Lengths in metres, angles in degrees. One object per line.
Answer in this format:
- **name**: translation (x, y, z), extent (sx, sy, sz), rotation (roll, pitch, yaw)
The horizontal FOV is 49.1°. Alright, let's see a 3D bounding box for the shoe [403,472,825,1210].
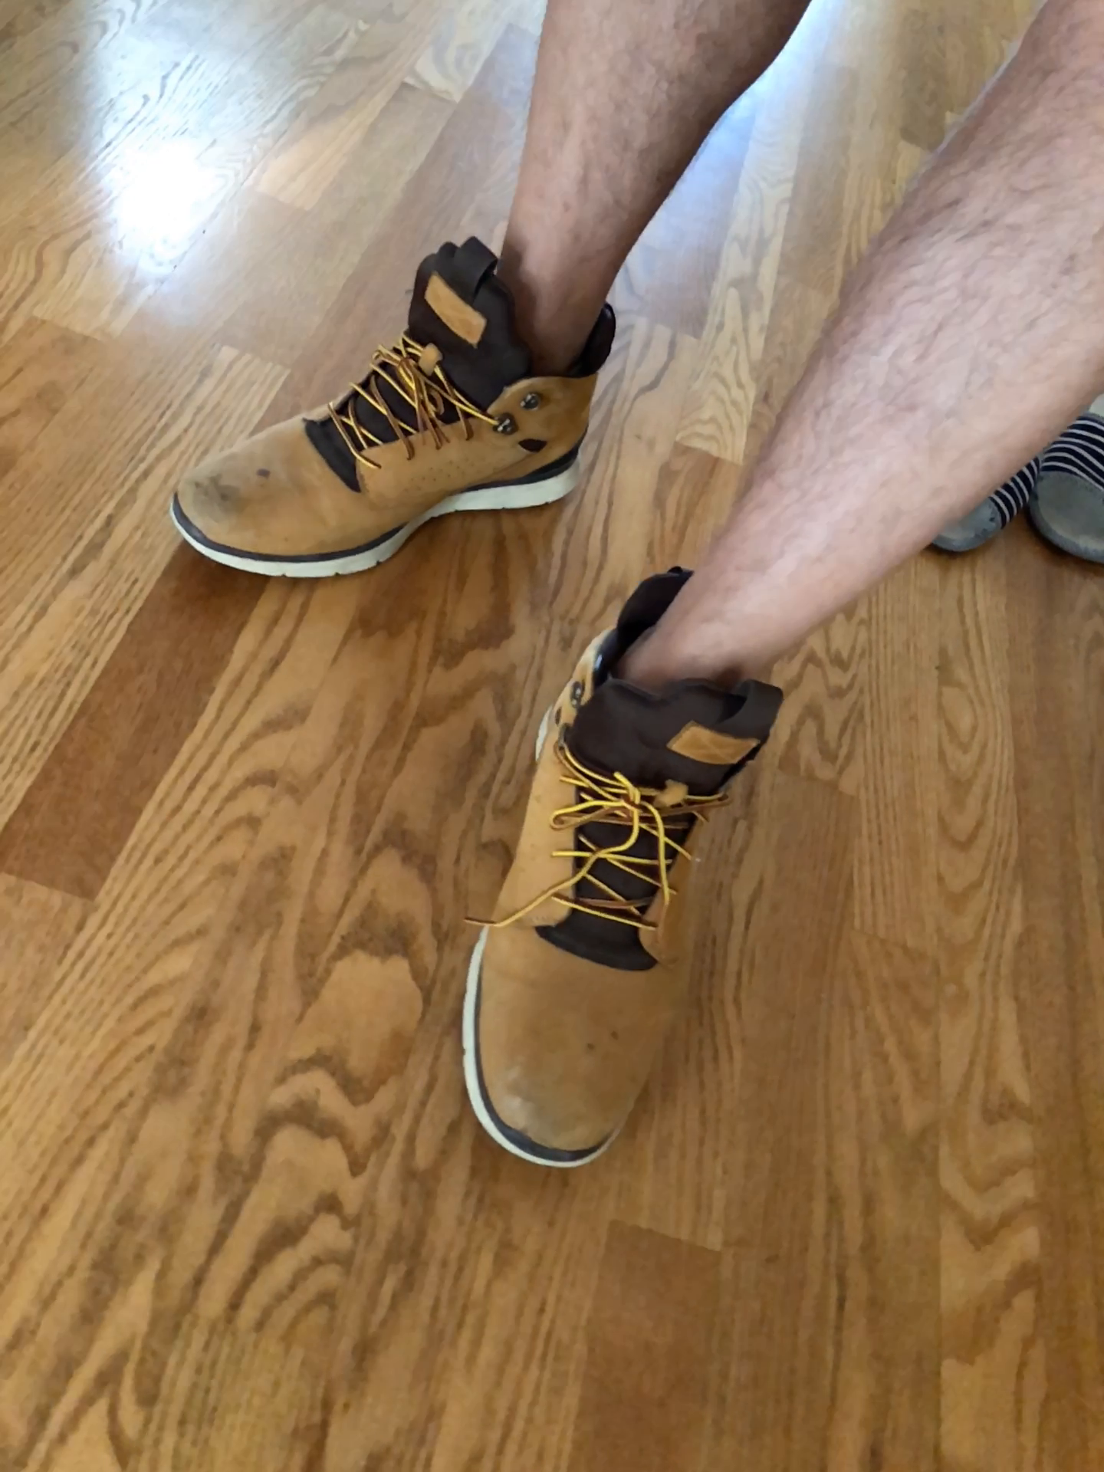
- **shoe**: translation (0.037, 0.039, 0.561), extent (0.120, 0.139, 0.291), rotation (18, 50, -7)

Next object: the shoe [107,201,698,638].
- **shoe**: translation (-0.086, -0.196, 0.717), extent (0.311, 0.149, 0.120), rotation (-25, 66, -34)
